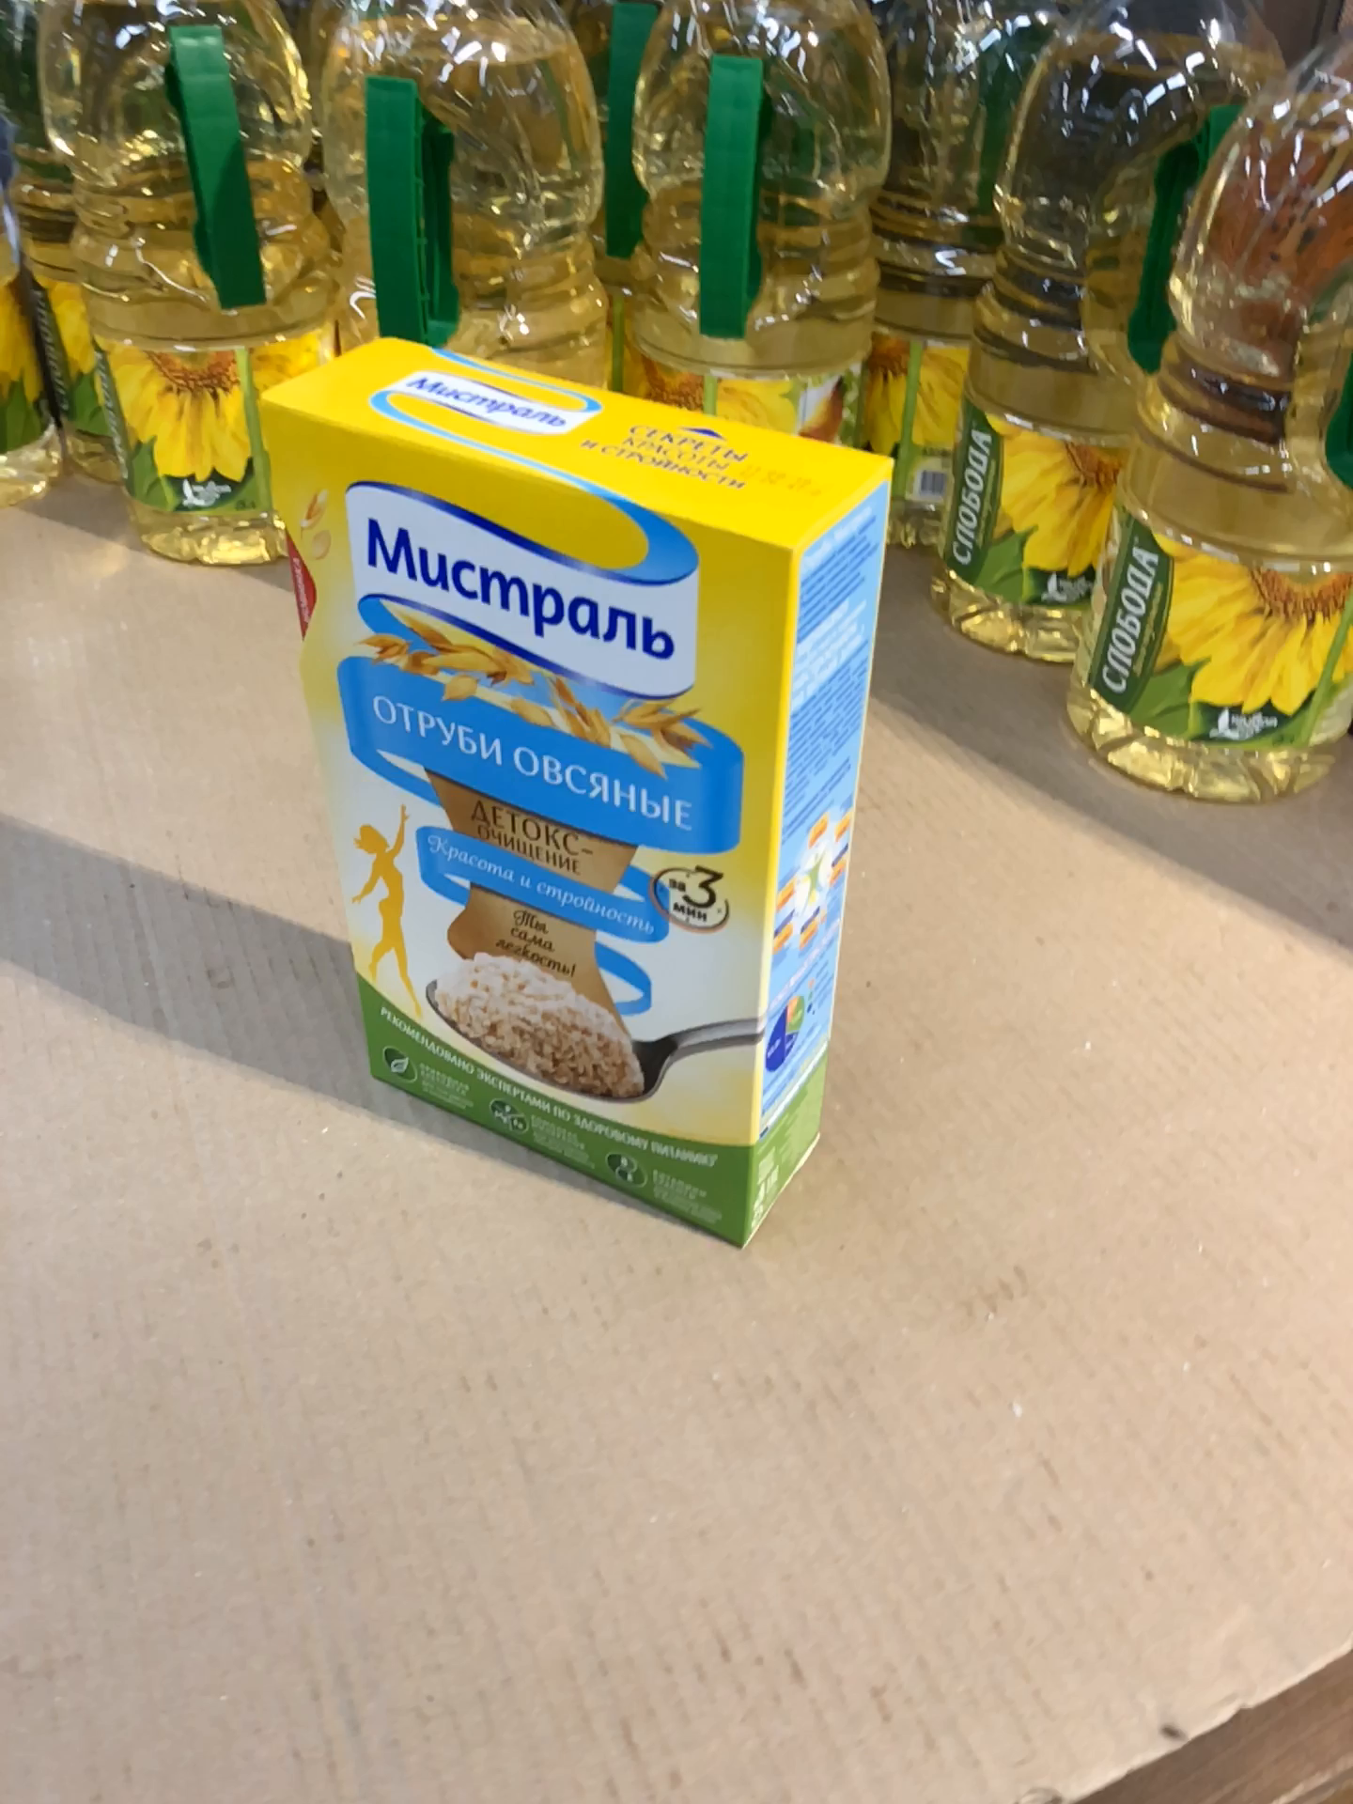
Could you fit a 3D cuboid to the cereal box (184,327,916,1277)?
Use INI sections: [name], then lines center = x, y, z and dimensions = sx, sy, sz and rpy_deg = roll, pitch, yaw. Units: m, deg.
[cereal box]
center = -0.030, -0.019, 0.376
dimensions = 0.150, 0.209, 0.050
rpy_deg = 20, 43, 23
